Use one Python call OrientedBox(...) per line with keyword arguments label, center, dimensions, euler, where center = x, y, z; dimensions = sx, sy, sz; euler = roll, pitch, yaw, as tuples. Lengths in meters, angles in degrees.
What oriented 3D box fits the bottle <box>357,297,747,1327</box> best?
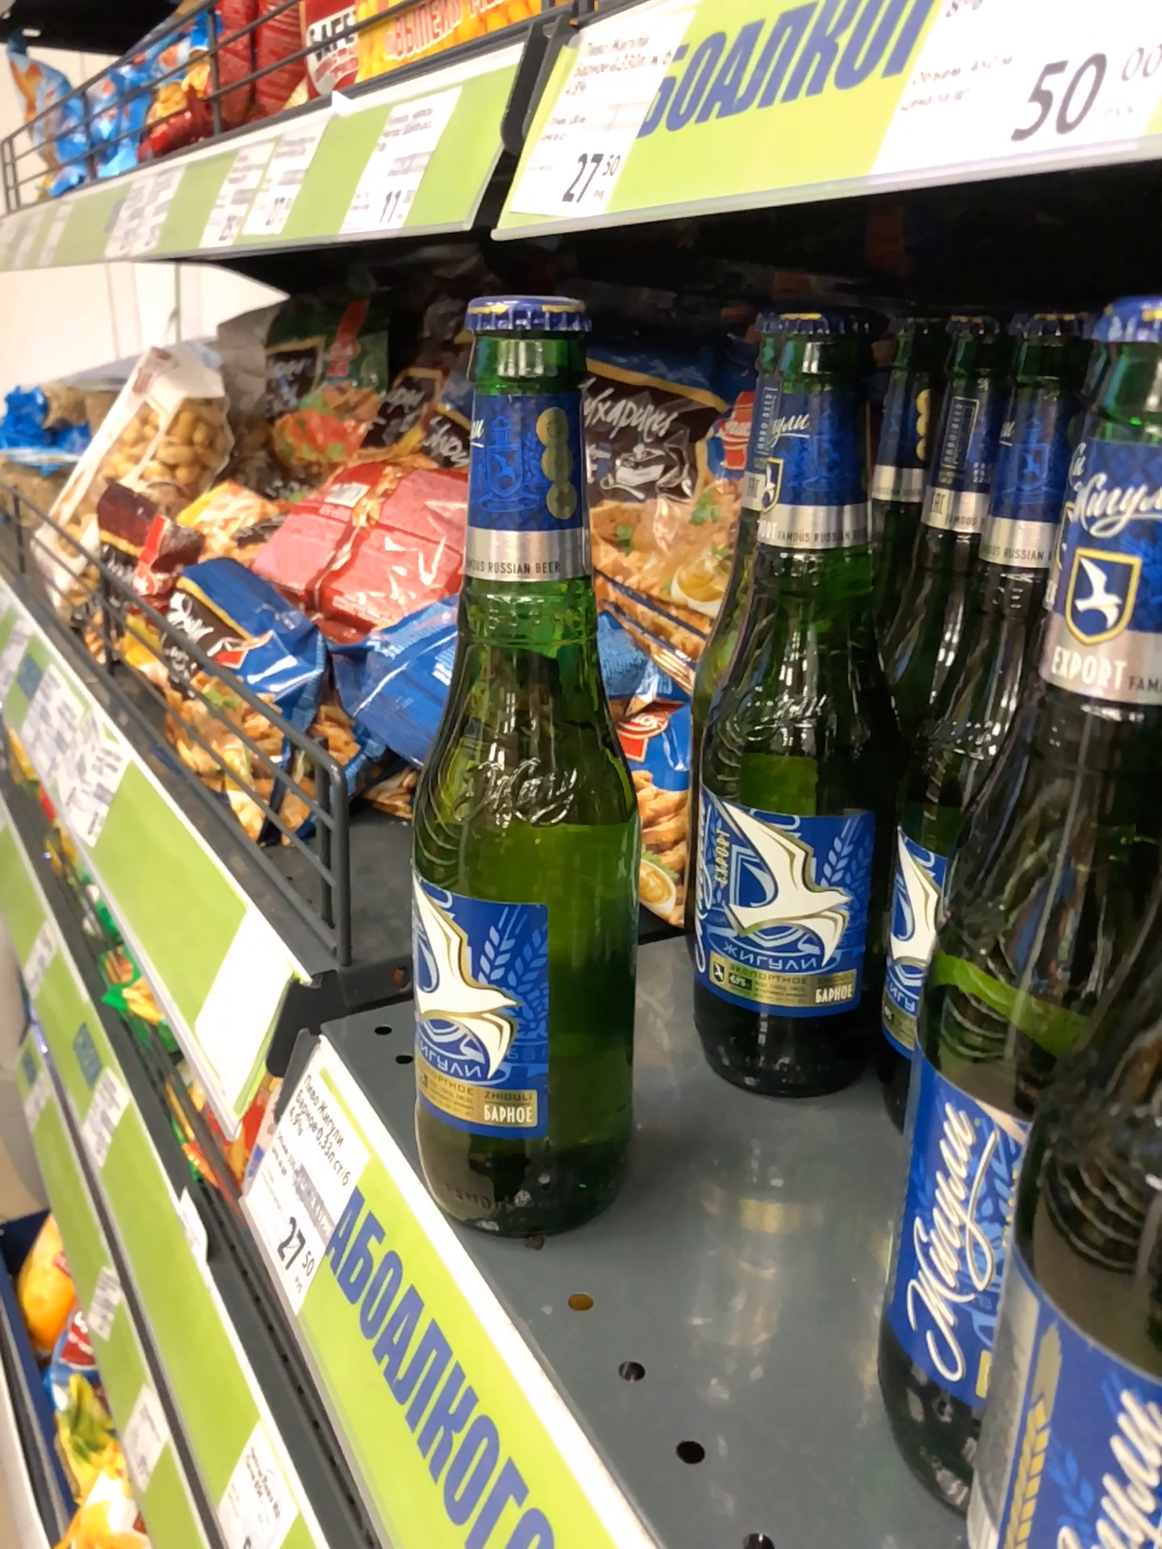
OrientedBox(label="bottle", center=(-0.007, 0.009, 0.319), dimensions=(0.063, 0.239, 0.063), euler=(0, 19, 0))
